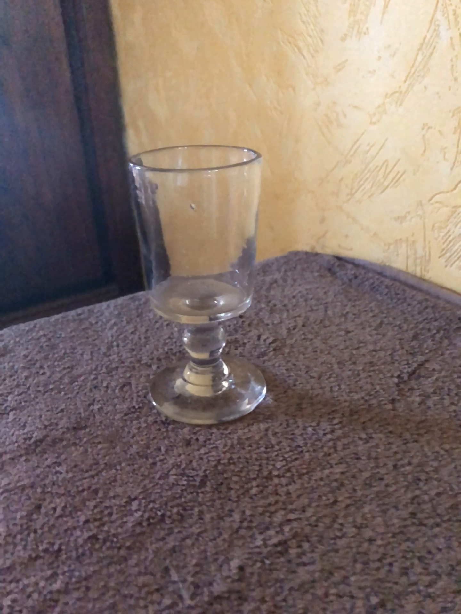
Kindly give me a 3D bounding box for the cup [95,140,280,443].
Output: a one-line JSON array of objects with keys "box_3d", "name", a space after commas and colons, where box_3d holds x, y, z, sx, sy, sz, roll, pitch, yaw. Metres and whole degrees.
[{"box_3d": [-0.018, -0.010, 0.226, 0.060, 0.109, 0.060, -2, 26, 1], "name": "cup"}]
